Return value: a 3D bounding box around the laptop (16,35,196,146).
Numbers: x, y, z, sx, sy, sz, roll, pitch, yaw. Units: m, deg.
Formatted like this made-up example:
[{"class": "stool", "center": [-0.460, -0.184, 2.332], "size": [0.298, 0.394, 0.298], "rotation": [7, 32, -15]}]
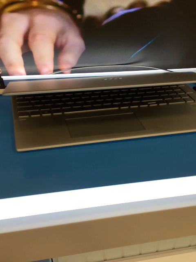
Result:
[{"class": "laptop", "center": [0.043, -0.097, 0.504], "size": [0.374, 0.105, 0.233], "rotation": [-6, 39, -11]}]
